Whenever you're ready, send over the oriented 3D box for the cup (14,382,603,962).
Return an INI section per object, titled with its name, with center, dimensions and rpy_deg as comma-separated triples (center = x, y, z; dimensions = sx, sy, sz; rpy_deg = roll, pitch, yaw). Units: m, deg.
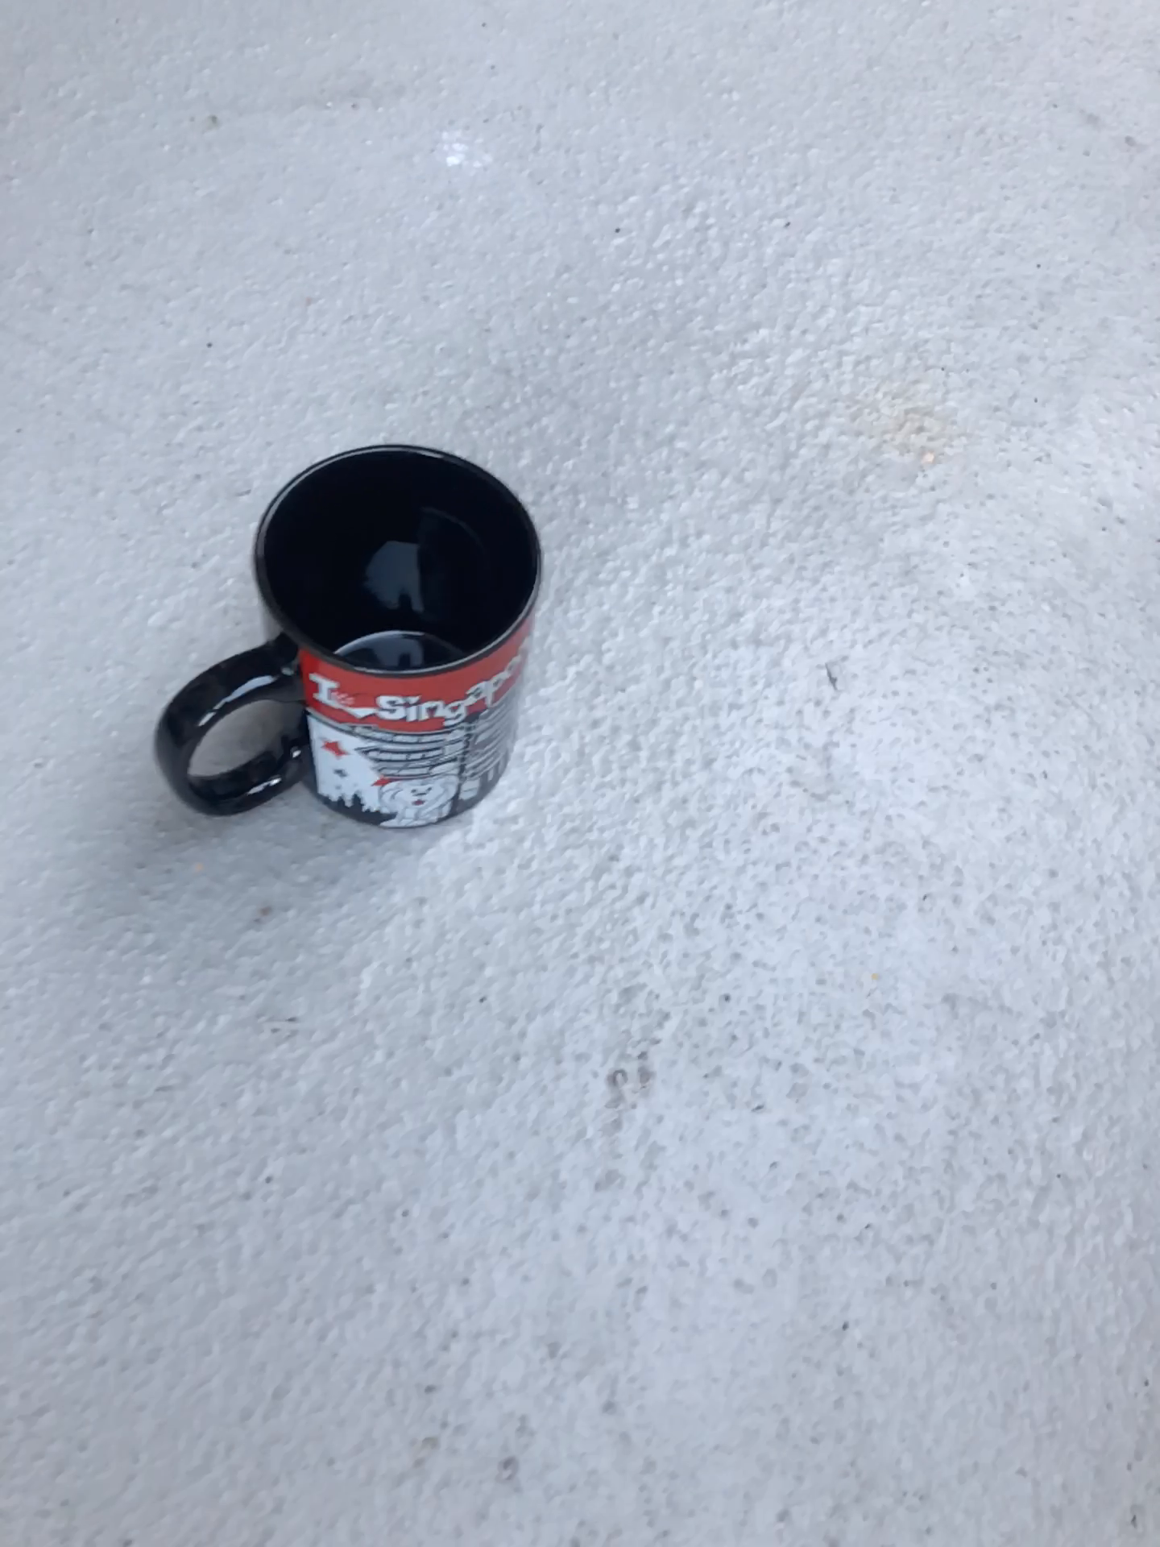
[cup]
center = -0.076, -0.028, 0.386
dimensions = 0.130, 0.110, 0.080
rpy_deg = -30, 68, -22
